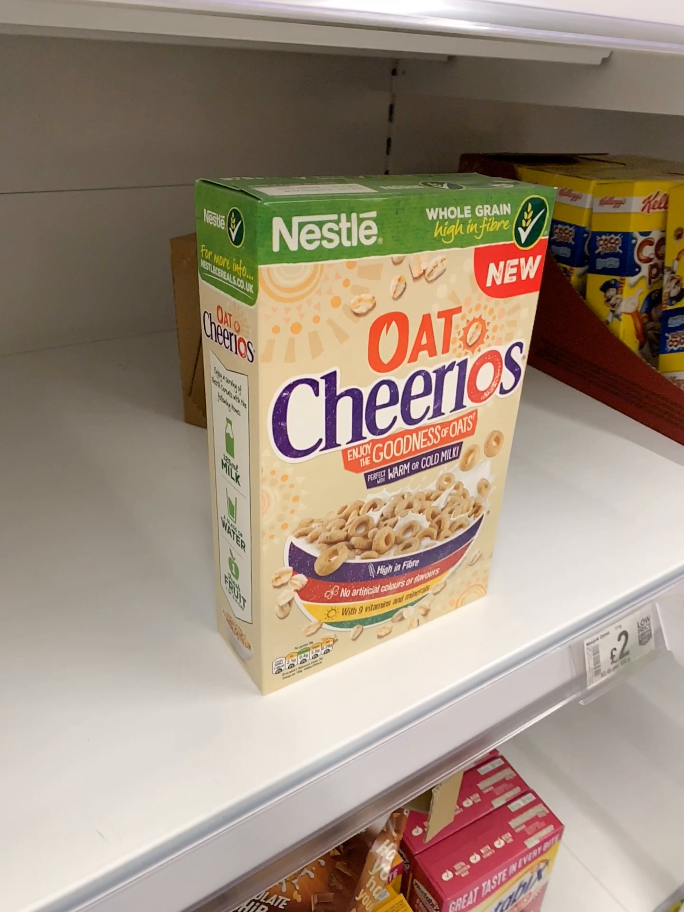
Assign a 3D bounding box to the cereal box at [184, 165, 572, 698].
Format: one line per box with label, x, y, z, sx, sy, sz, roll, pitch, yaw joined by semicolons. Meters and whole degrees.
cereal box;0.019;-0.018;0.434;0.201;0.287;0.070;-15;33;-30
